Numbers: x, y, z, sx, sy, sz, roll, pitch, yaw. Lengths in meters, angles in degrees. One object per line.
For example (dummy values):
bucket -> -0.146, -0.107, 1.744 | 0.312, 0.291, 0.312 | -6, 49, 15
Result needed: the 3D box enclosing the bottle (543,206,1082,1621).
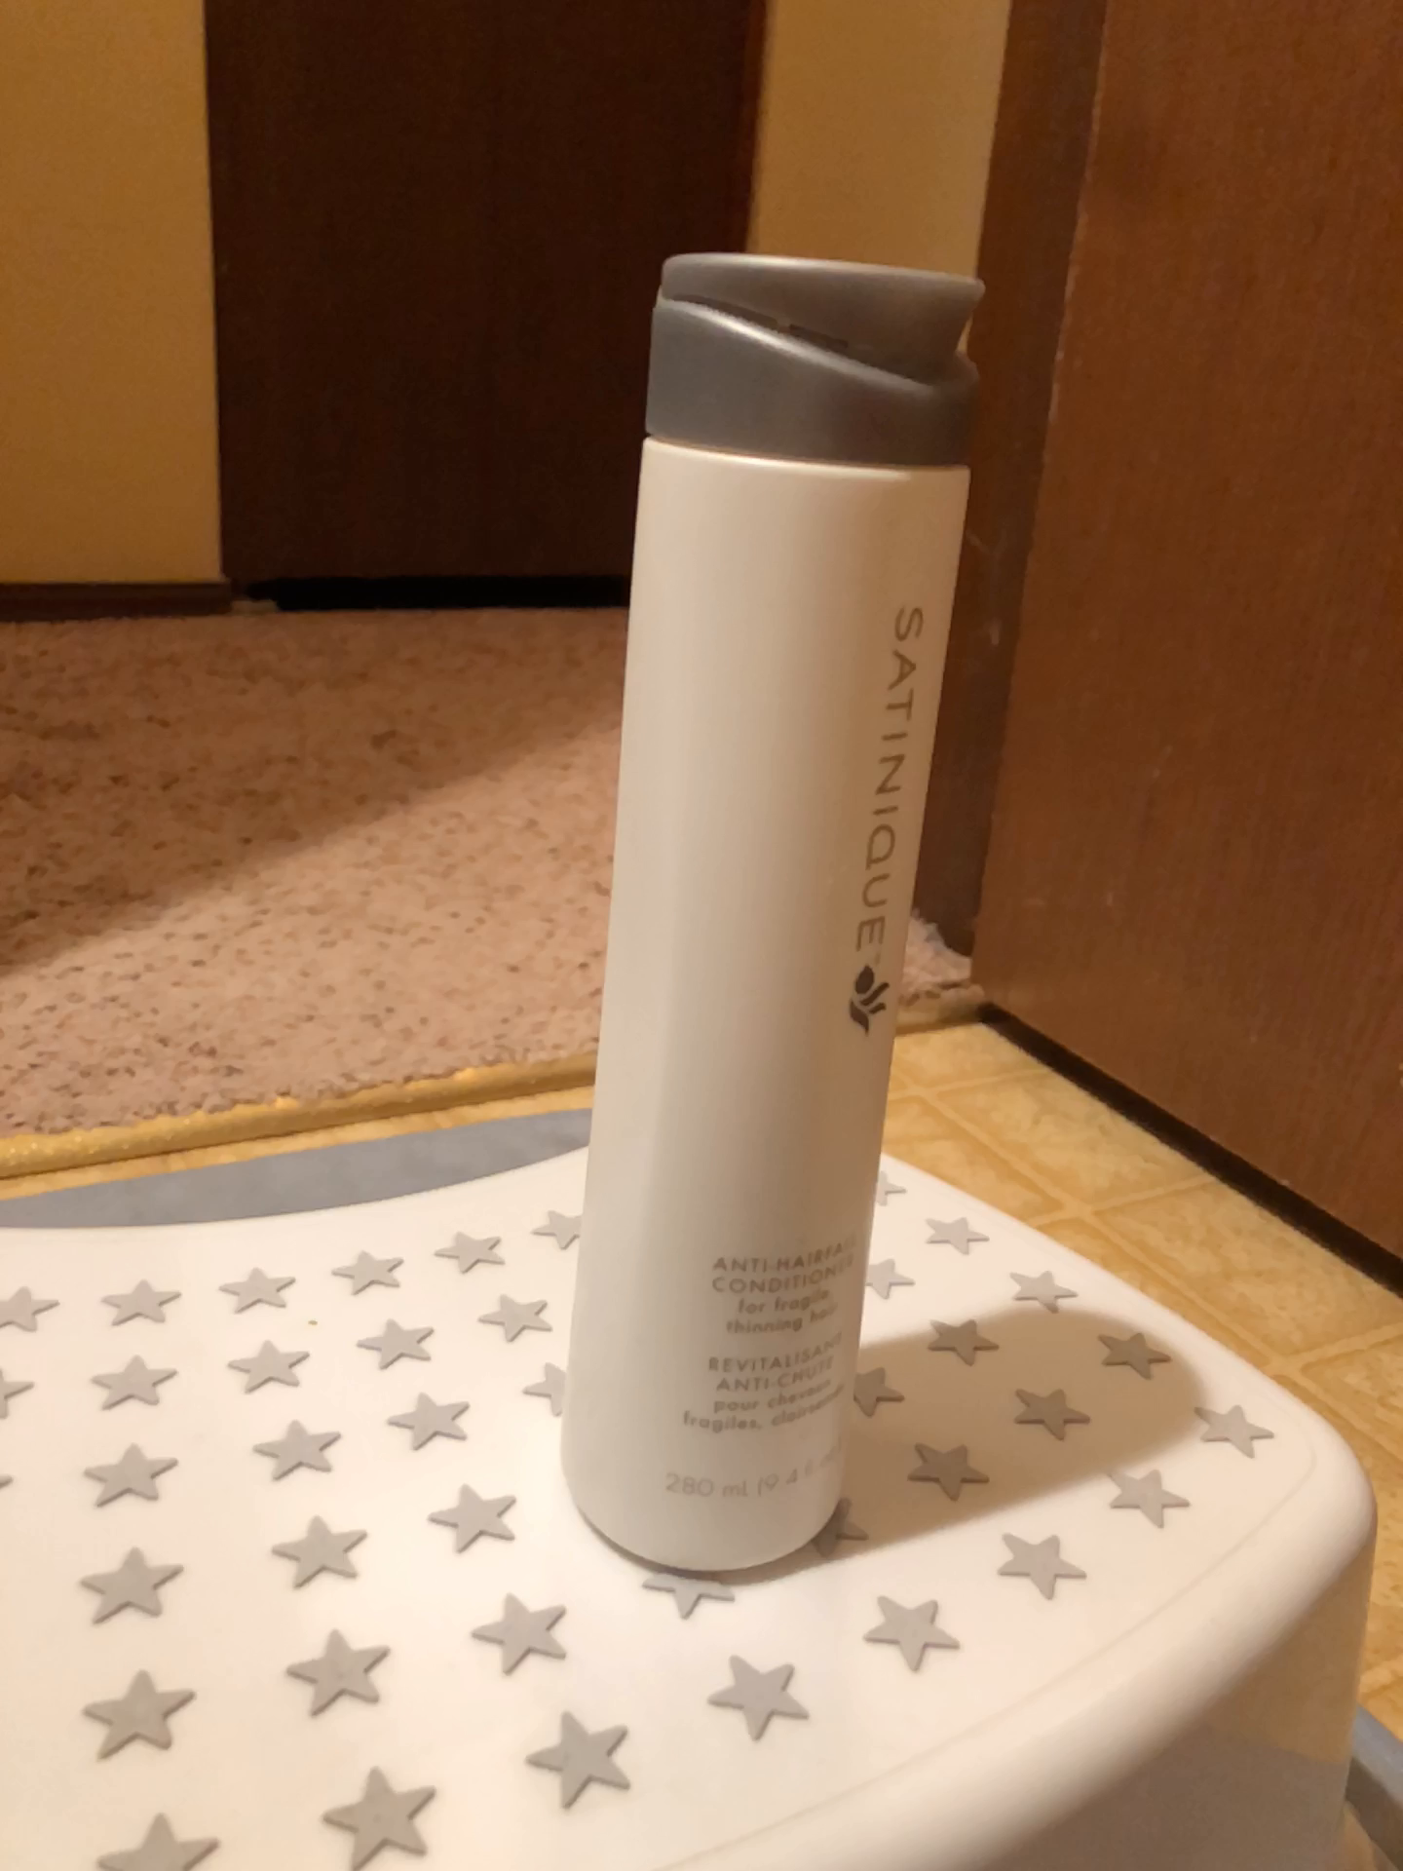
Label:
bottle -> 0.009, 0.003, 0.247 | 0.050, 0.209, 0.050 | 4, 21, -1
